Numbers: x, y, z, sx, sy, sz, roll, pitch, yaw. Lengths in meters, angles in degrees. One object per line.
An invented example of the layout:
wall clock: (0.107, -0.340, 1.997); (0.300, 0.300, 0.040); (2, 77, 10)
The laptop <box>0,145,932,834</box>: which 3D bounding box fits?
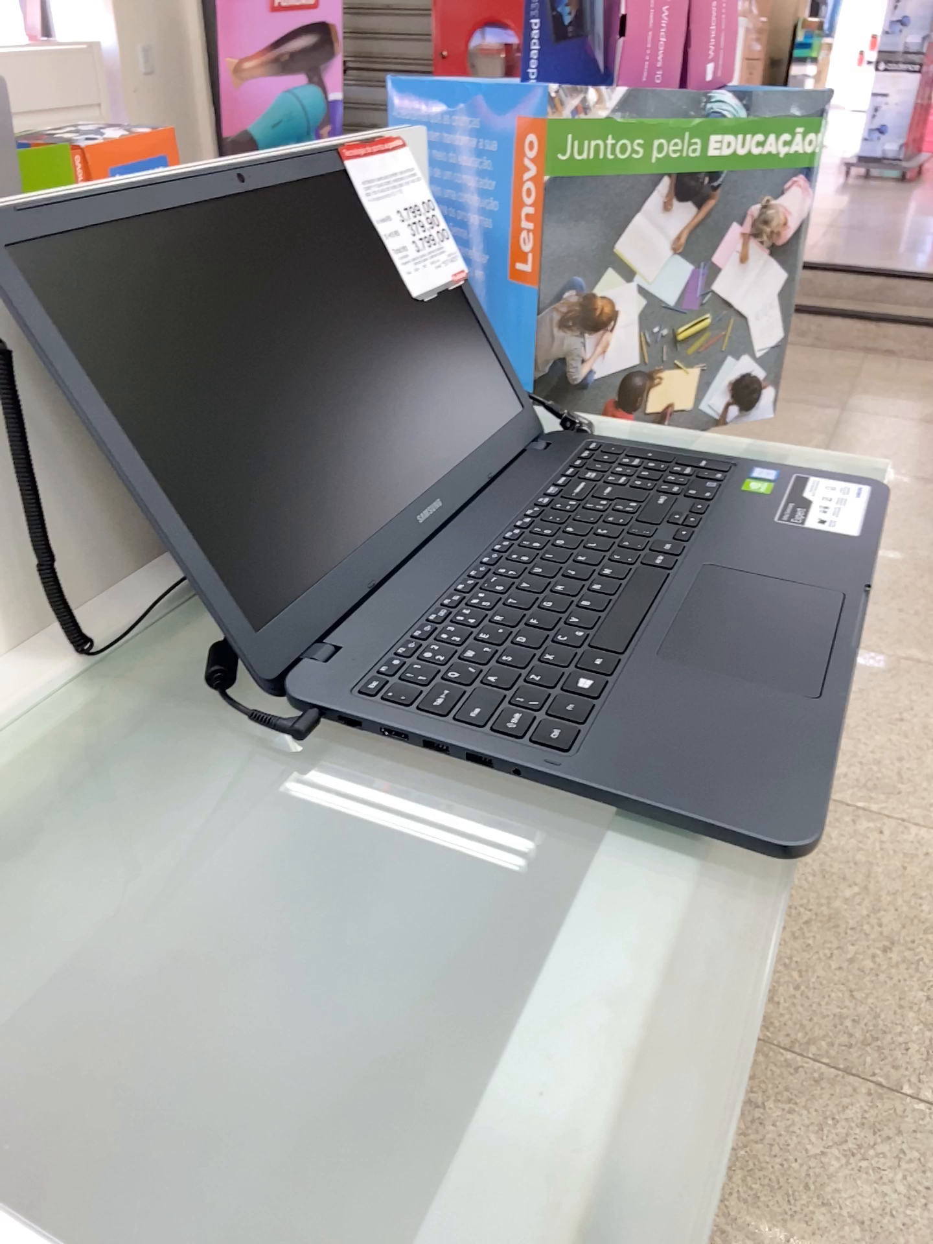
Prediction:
laptop: (0.039, -0.131, 0.527); (0.368, 0.192, 0.373); (14, 34, 21)
